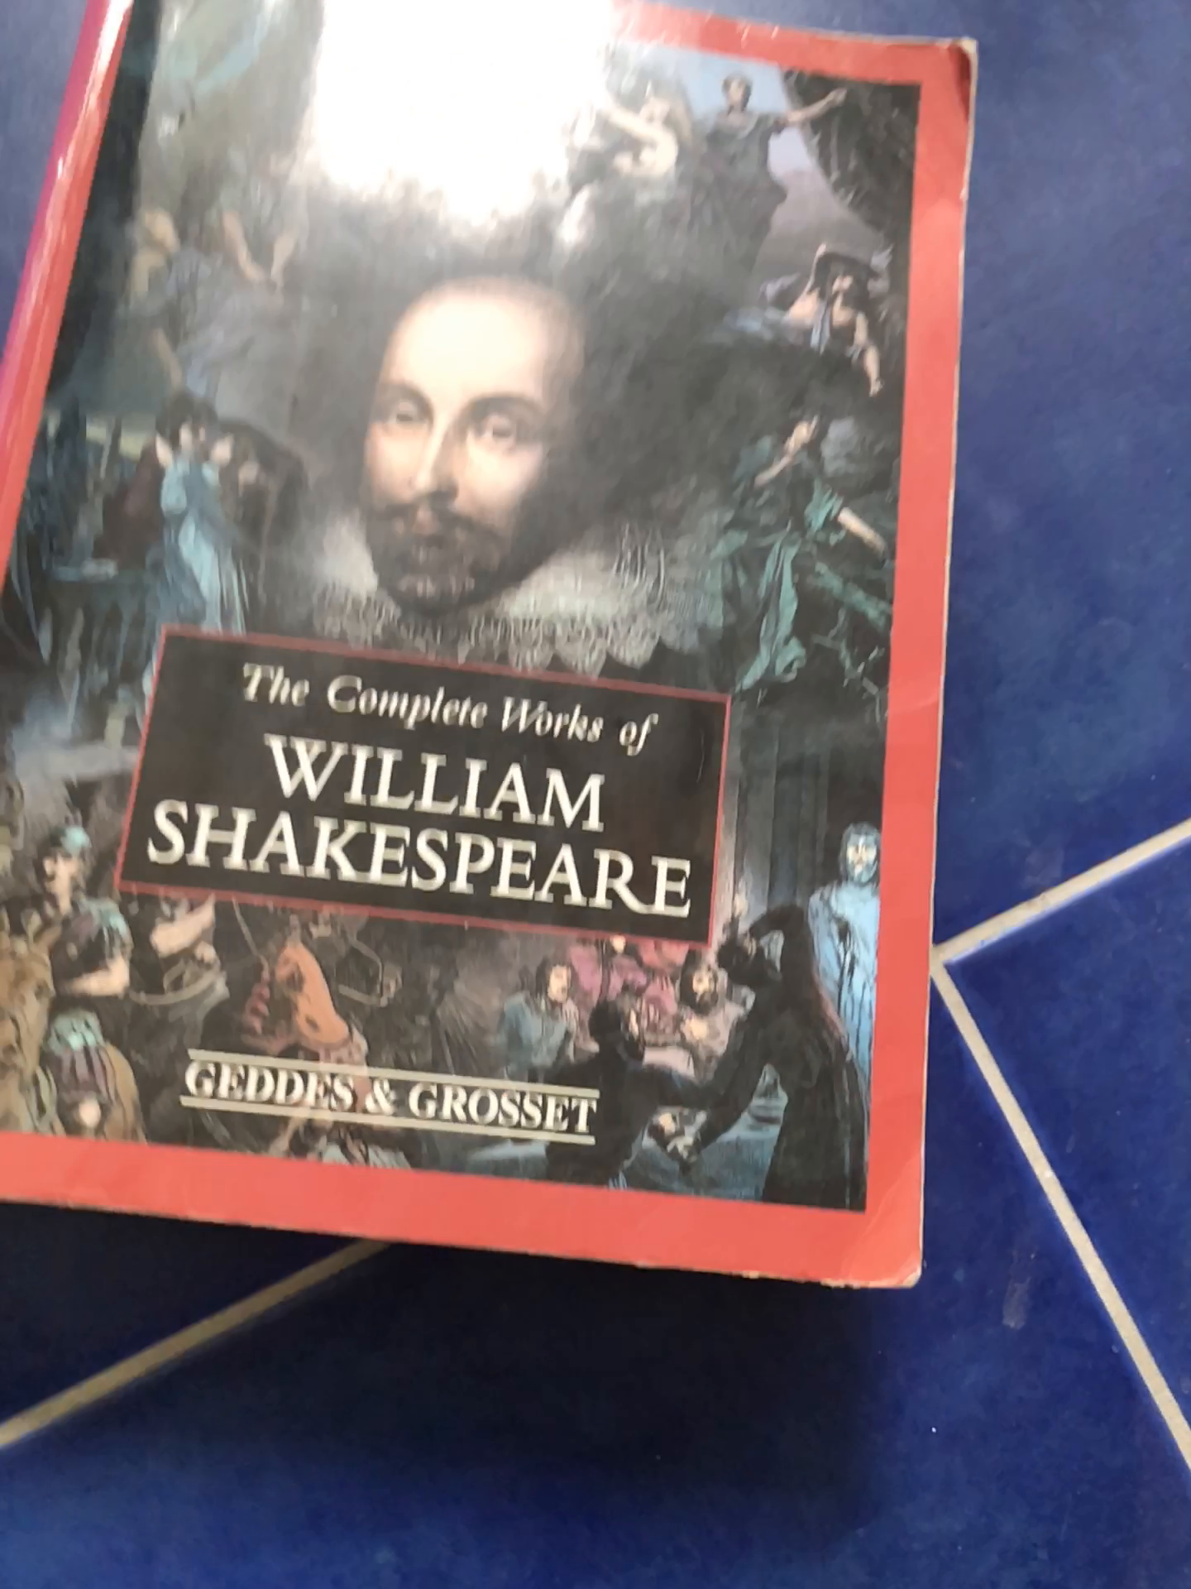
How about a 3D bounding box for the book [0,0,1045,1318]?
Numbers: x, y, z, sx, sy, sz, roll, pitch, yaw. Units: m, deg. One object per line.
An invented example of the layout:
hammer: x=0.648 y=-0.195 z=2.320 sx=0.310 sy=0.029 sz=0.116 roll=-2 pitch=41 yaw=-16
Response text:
book: x=-0.021 y=-0.046 z=0.281 sx=0.210 sy=0.060 sz=0.270 roll=7 pitch=75 yaw=-4
